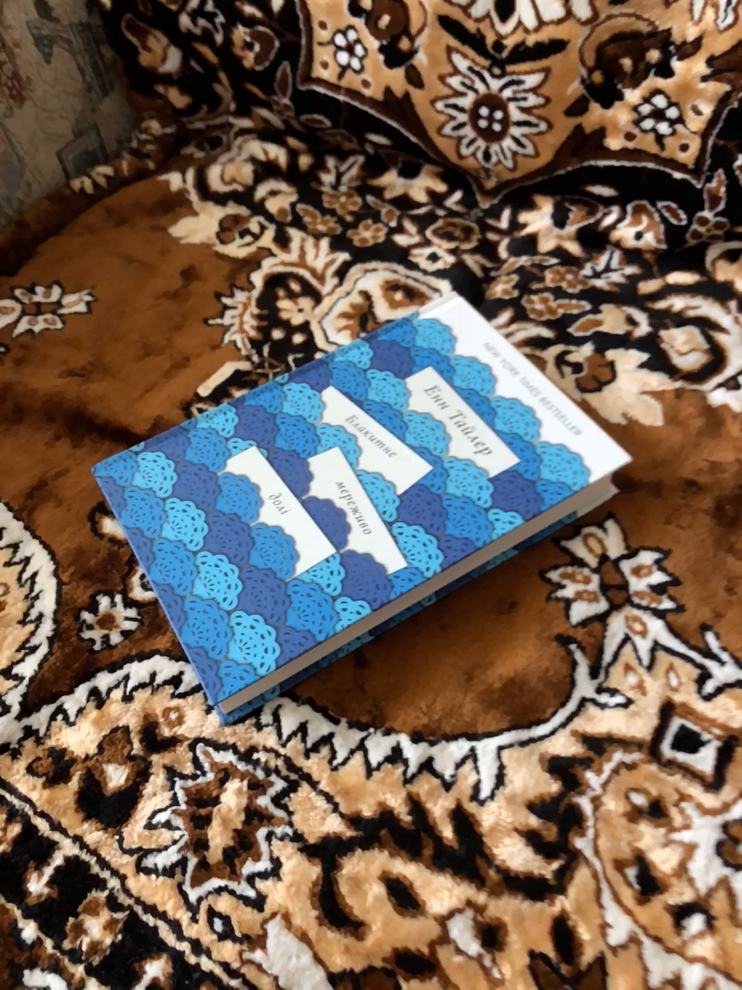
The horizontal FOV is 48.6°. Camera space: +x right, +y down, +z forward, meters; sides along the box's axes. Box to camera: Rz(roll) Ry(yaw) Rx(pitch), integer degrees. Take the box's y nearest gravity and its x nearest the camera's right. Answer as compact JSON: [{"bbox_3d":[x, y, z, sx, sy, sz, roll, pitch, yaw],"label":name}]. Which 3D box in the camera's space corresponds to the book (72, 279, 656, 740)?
[{"bbox_3d":[-0.005,-0.011,0.404,0.233,0.030,0.155,-27,57,-17],"label":"book"}]
